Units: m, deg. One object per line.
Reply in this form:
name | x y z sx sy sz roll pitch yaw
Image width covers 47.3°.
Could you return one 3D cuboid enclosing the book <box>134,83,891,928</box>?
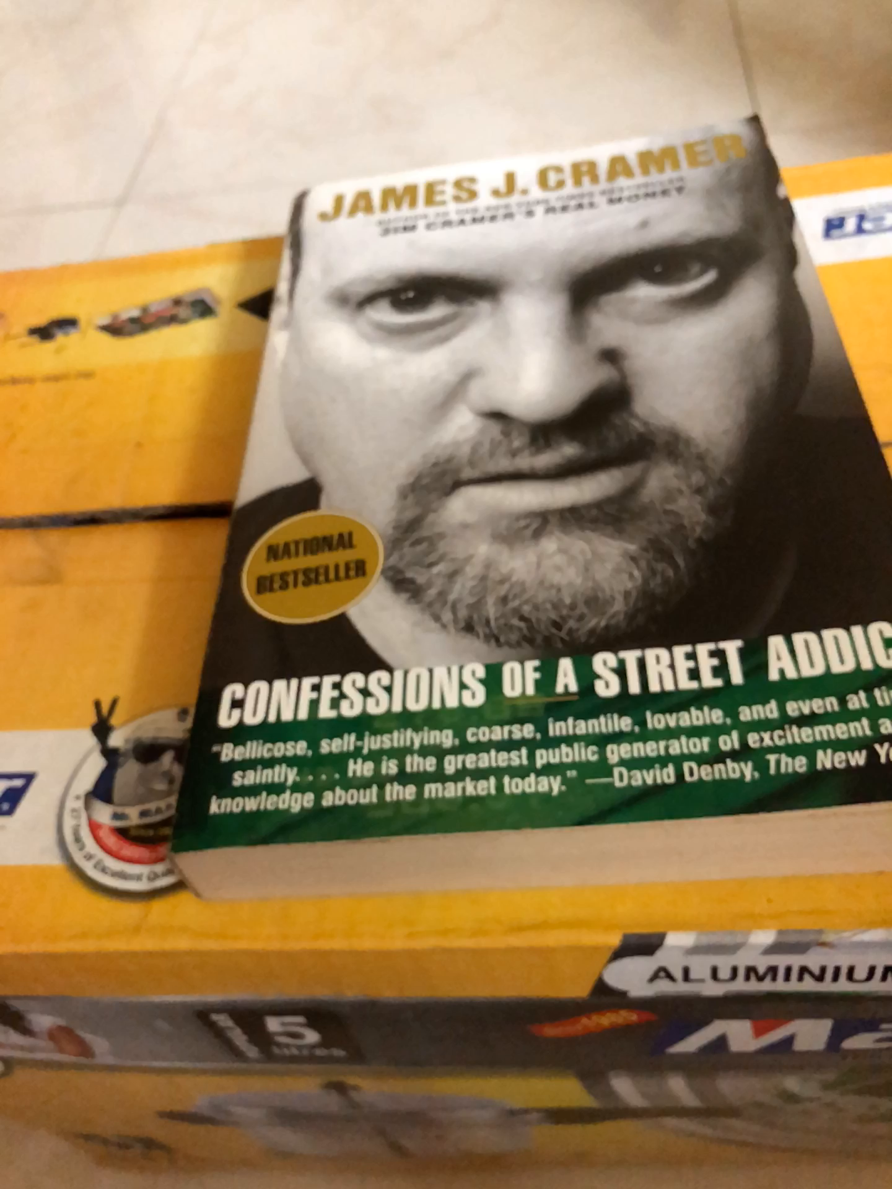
book | 0.022 -0.043 0.242 0.140 0.030 0.231 -5 50 7
